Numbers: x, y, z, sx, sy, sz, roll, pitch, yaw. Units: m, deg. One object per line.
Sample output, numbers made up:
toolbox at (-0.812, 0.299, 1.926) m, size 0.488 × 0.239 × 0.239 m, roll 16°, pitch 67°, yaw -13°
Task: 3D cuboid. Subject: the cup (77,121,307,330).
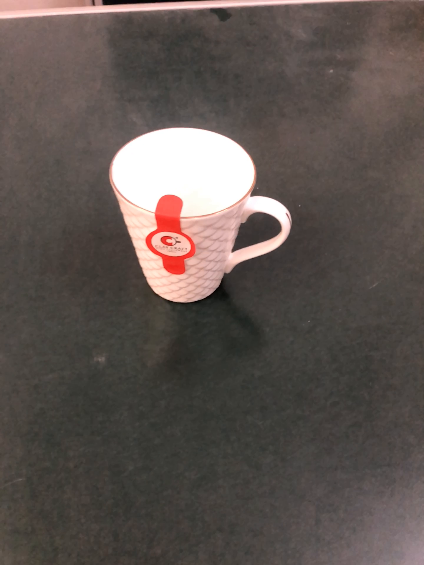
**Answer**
cup at (-0.008, -0.036, 0.308) m, size 0.120 × 0.090 × 0.080 m, roll 8°, pitch 50°, yaw 5°
